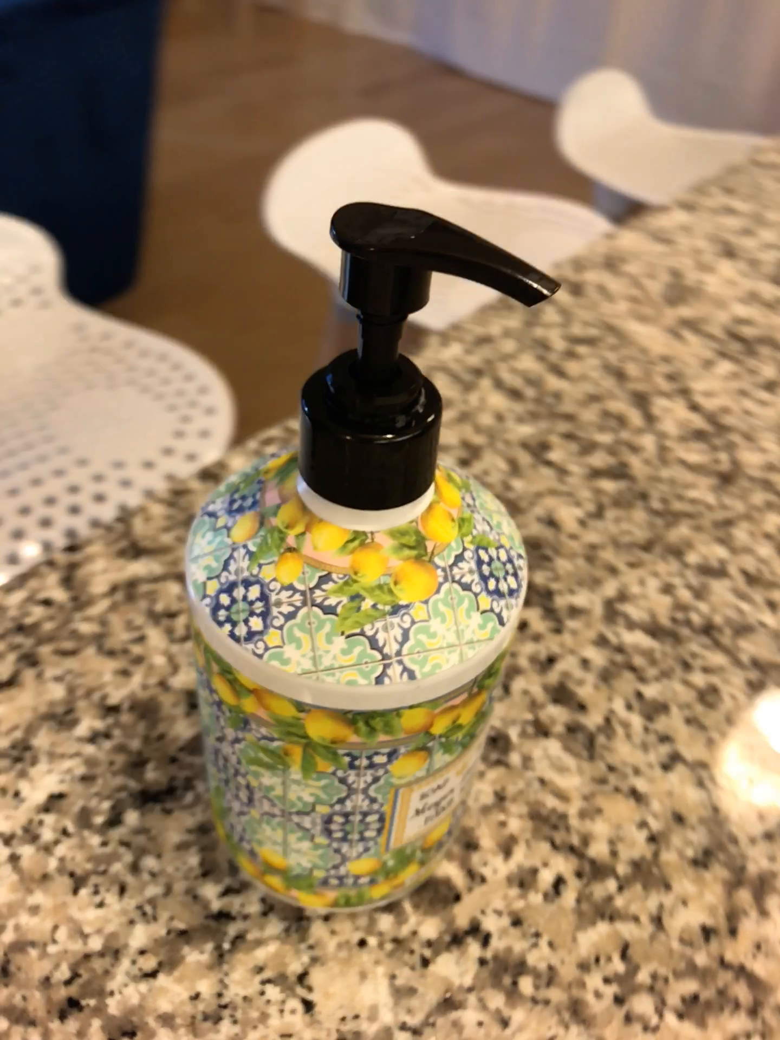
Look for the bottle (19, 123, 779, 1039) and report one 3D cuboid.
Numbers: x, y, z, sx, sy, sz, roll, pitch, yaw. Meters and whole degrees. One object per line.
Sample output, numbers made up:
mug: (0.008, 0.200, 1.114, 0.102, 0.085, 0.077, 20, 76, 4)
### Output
bottle: (-0.002, 0.024, 0.216, 0.100, 0.189, 0.091, 31, 48, 24)
